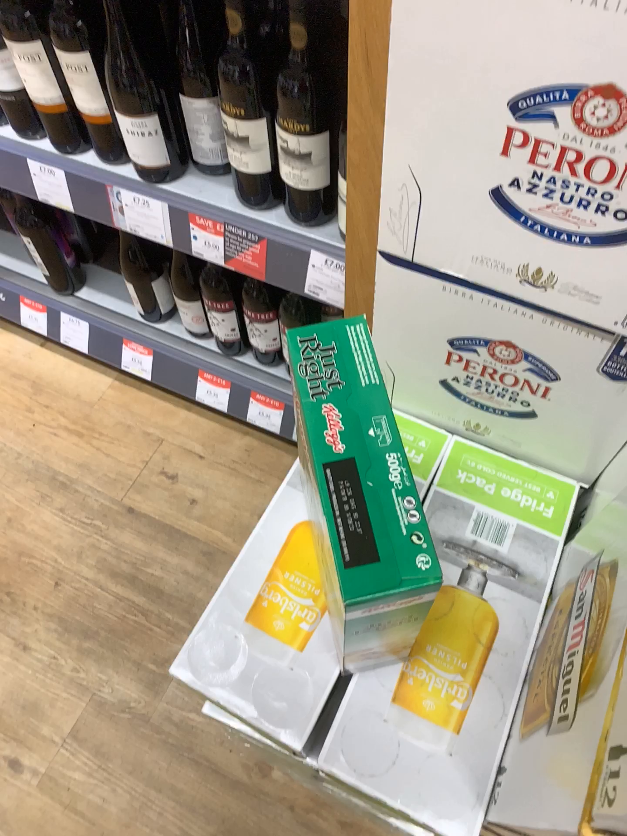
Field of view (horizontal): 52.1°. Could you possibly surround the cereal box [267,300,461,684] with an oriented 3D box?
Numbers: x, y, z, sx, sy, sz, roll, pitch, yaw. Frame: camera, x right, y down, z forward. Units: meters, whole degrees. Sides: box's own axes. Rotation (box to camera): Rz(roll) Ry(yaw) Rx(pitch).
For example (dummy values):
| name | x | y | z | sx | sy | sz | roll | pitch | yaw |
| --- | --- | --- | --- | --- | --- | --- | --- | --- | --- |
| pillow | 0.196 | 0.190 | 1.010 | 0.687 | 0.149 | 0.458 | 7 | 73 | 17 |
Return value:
| name | x | y | z | sx | sy | sz | roll | pitch | yaw |
| --- | --- | --- | --- | --- | --- | --- | --- | --- | --- |
| cereal box | 0.027 | 0.070 | 0.471 | 0.070 | 0.238 | 0.191 | -11 | 59 | -3 |
